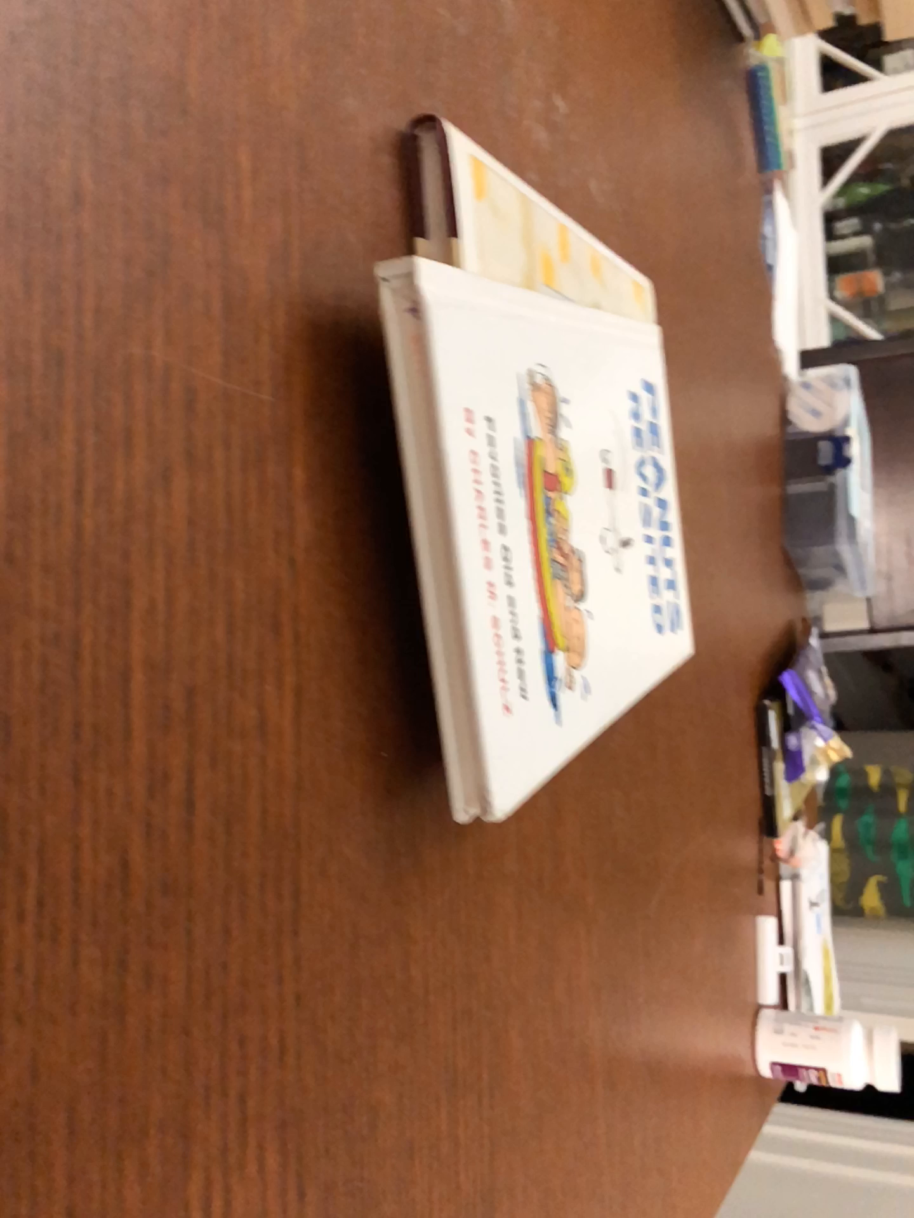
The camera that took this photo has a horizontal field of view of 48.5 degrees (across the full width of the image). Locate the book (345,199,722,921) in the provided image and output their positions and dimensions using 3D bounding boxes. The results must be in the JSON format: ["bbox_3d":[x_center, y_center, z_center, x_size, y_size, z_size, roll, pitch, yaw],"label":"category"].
[{"bbox_3d":[0.043,-0.027,0.319,0.211,0.020,0.160,-24,108,-61],"label":"book"}]
